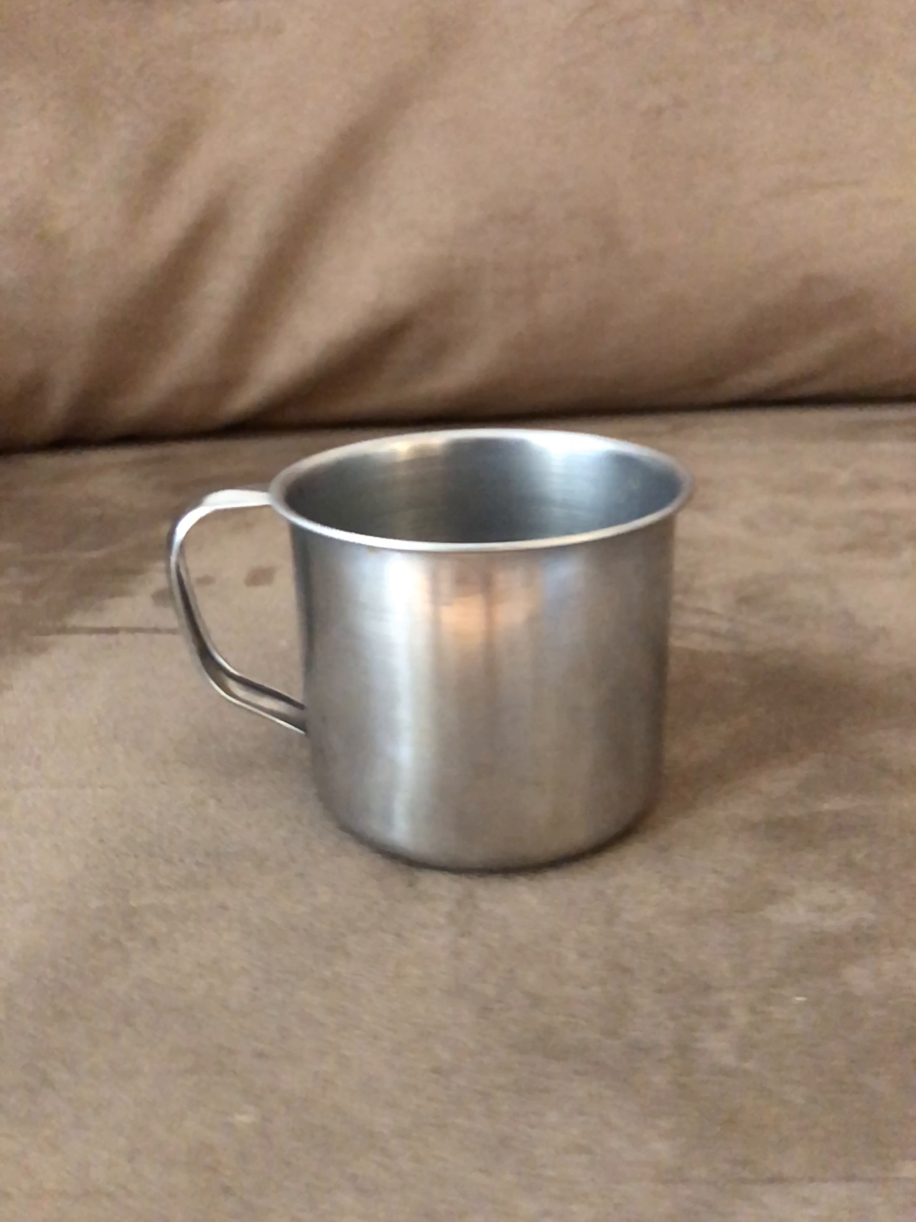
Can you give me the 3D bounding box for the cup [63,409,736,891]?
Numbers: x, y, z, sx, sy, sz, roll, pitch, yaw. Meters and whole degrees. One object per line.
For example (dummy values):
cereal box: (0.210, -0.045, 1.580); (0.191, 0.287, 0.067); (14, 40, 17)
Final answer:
cup: (-0.008, 0.002, 0.222); (0.110, 0.070, 0.091); (-2, 22, 1)
